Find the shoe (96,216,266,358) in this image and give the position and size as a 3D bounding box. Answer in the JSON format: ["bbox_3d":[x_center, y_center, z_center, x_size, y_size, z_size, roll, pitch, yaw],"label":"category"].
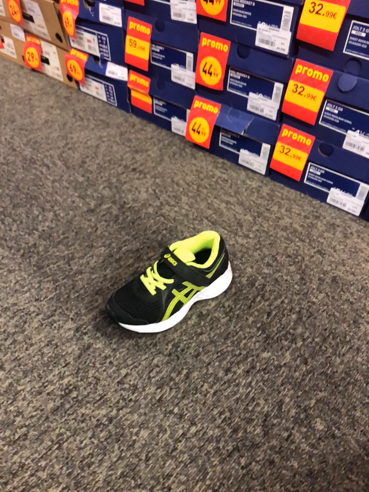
[{"bbox_3d":[-0.003,0.048,0.546,0.201,0.080,0.090,-23,49,-25],"label":"shoe"}]
